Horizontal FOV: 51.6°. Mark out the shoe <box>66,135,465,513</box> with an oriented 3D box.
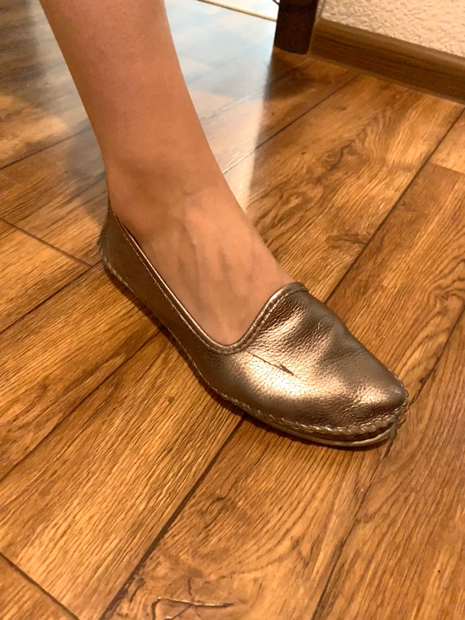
[{"bbox_3d":[0.008,-0.006,0.300,0.230,0.070,0.096,42,54,19],"label":"shoe"}]
